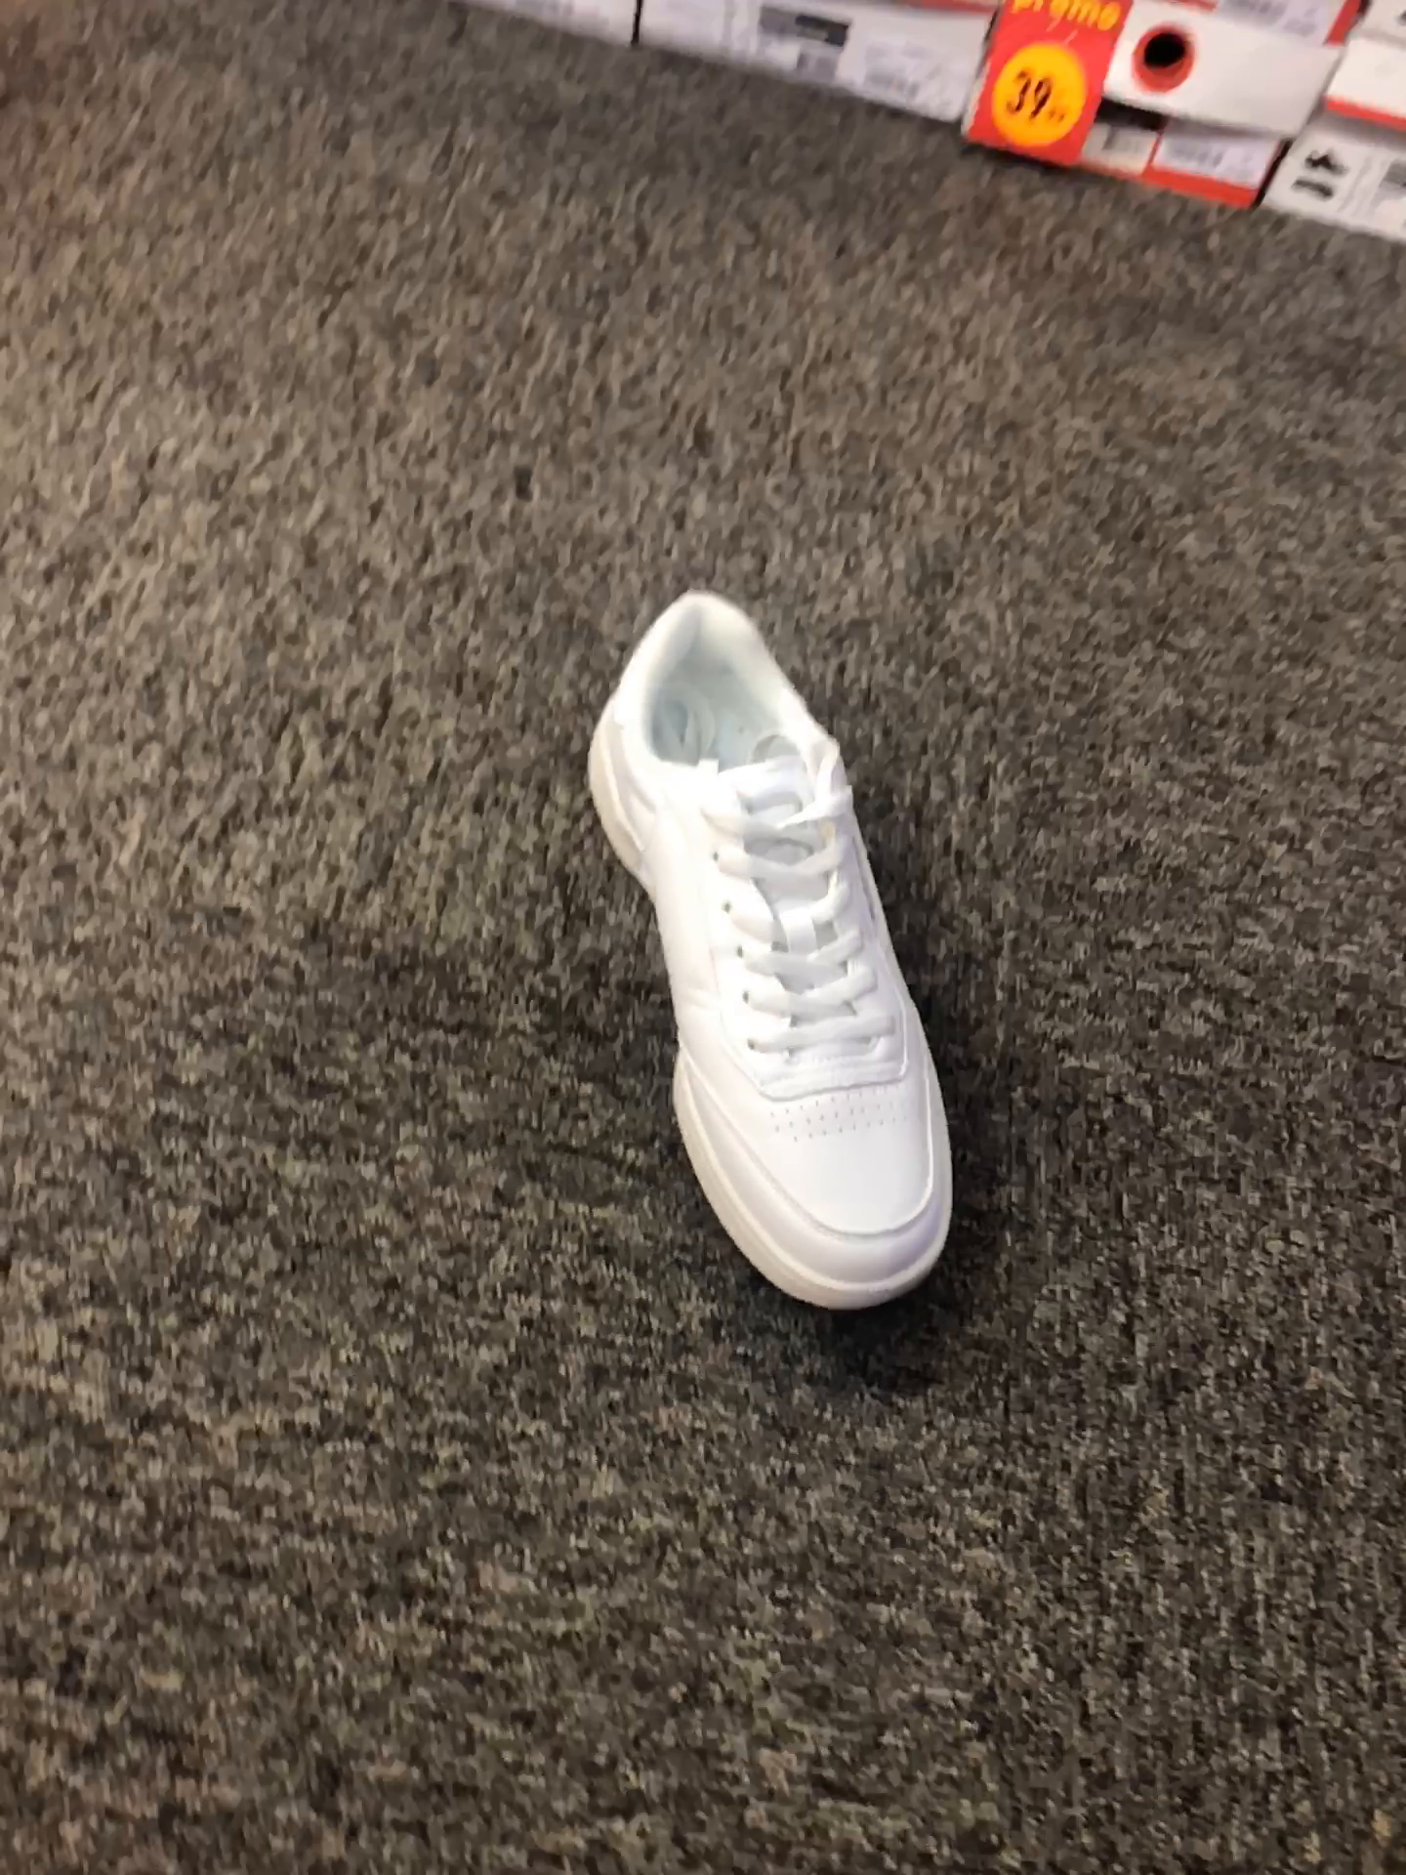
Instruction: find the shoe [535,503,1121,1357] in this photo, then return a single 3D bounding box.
[{"bbox_3d":[0.026,-0.012,0.511,0.100,0.090,0.261,-9,62,-17],"label":"shoe"}]
